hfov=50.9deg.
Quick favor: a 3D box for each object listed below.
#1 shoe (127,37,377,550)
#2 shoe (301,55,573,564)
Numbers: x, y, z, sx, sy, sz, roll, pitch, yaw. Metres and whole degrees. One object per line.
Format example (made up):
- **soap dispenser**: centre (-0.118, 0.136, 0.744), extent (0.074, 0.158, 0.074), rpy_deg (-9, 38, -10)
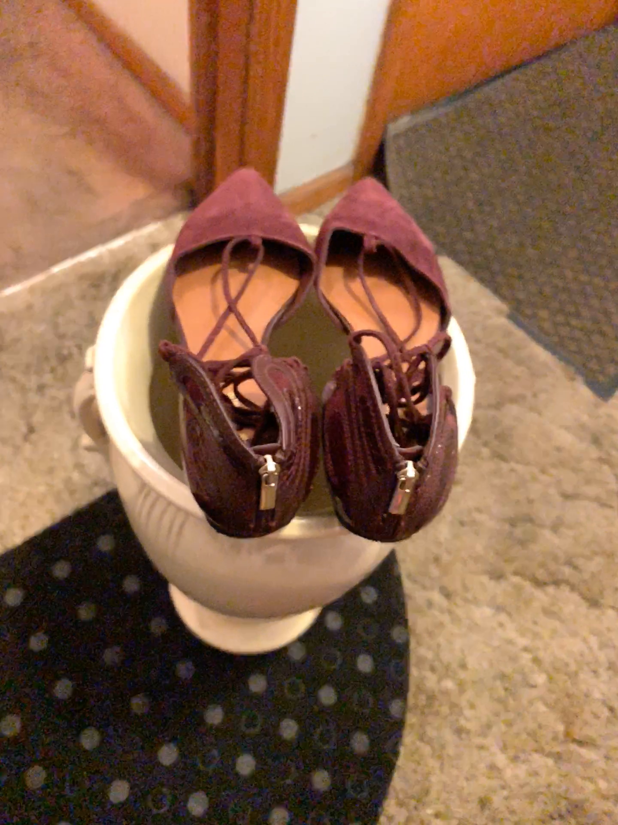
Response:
- **shoe**: centre (-0.034, -0.070, 0.347), extent (0.092, 0.099, 0.262), rpy_deg (1, 60, -9)
- **shoe**: centre (0.048, -0.062, 0.352), extent (0.092, 0.099, 0.262), rpy_deg (4, 60, -8)
